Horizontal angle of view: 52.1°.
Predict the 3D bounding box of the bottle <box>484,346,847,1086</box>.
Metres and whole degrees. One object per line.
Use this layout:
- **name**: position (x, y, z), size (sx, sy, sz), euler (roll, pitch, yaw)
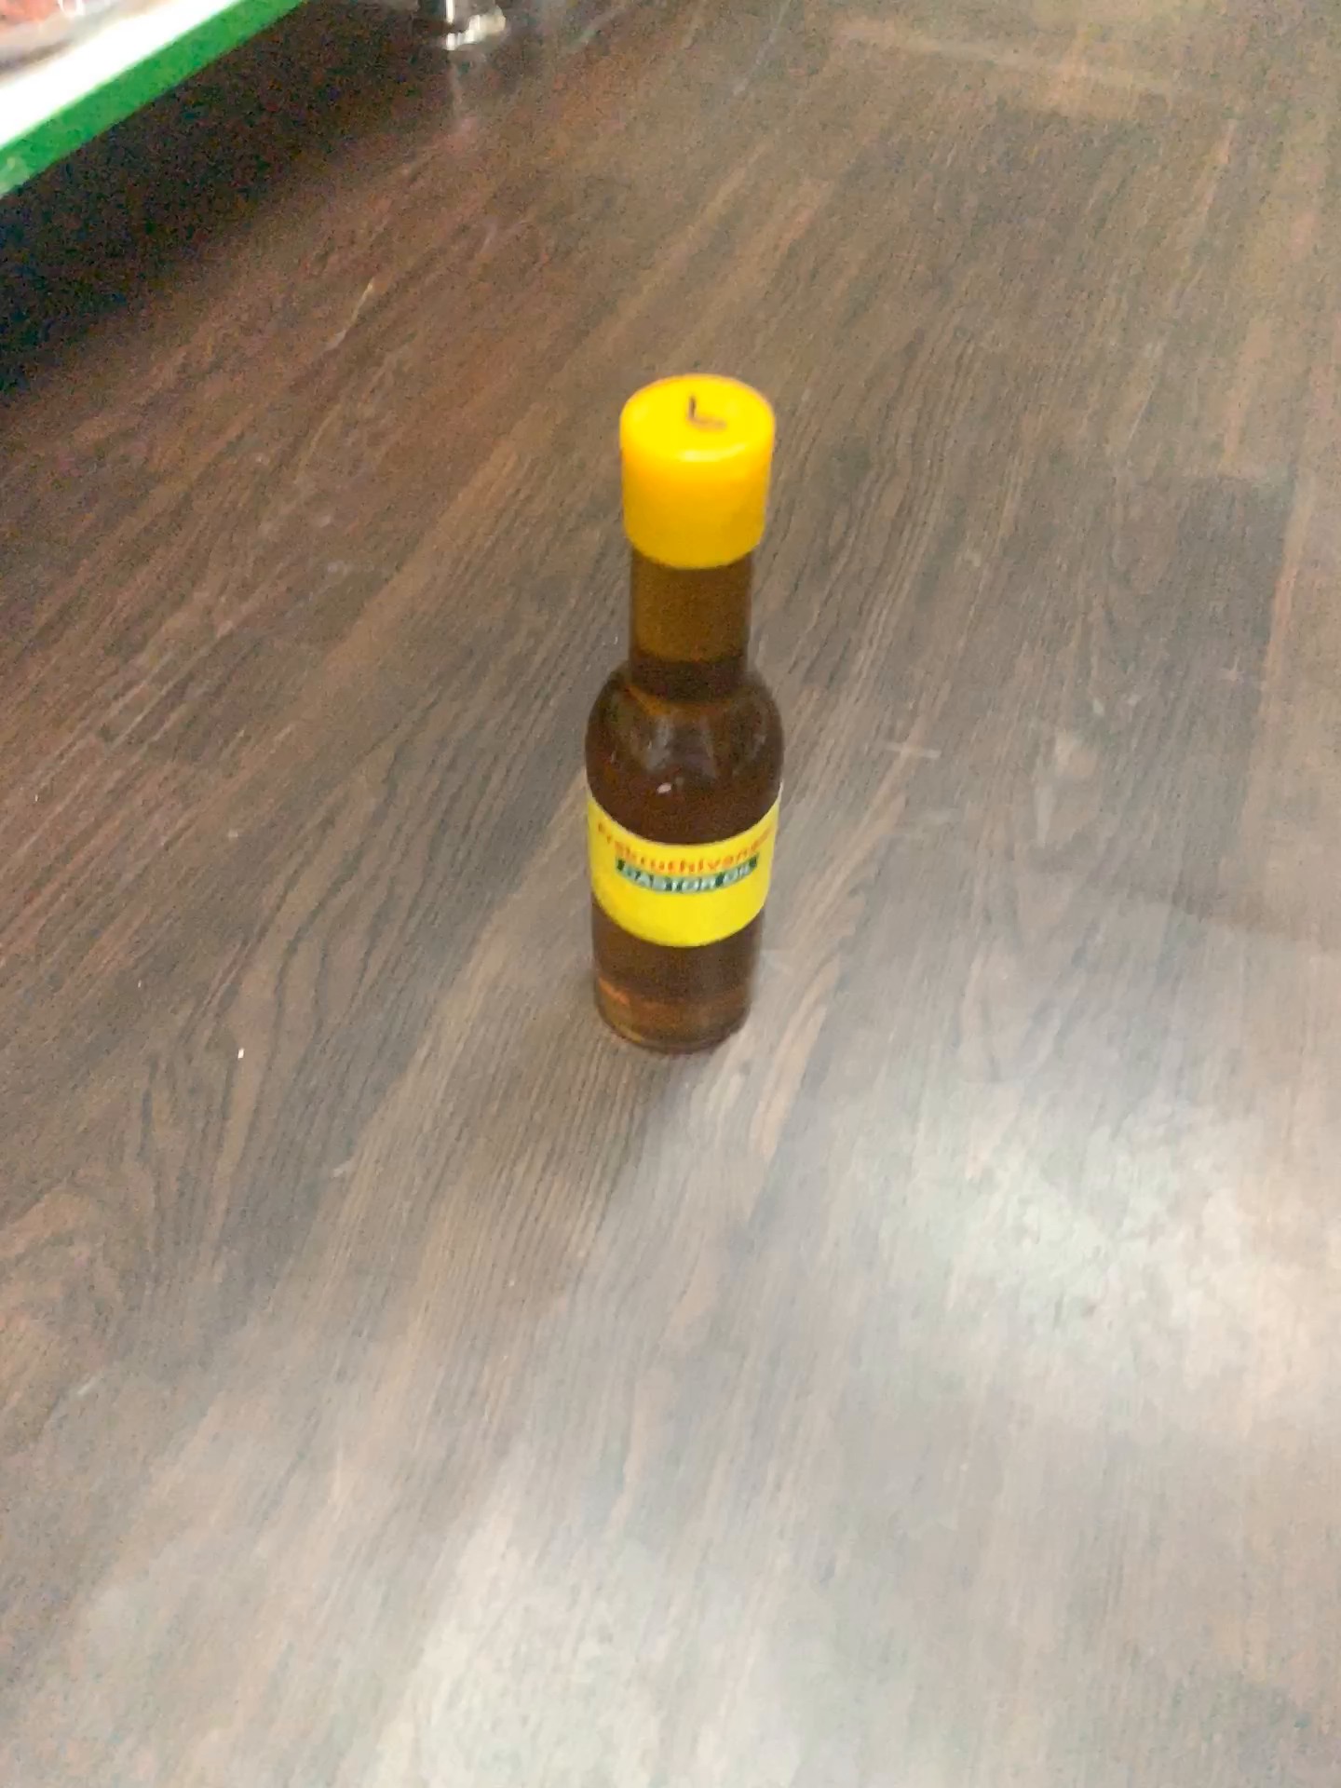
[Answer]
- **bottle**: position (-0.003, -0.028, 0.311), size (0.060, 0.170, 0.060), euler (1, 50, -1)
